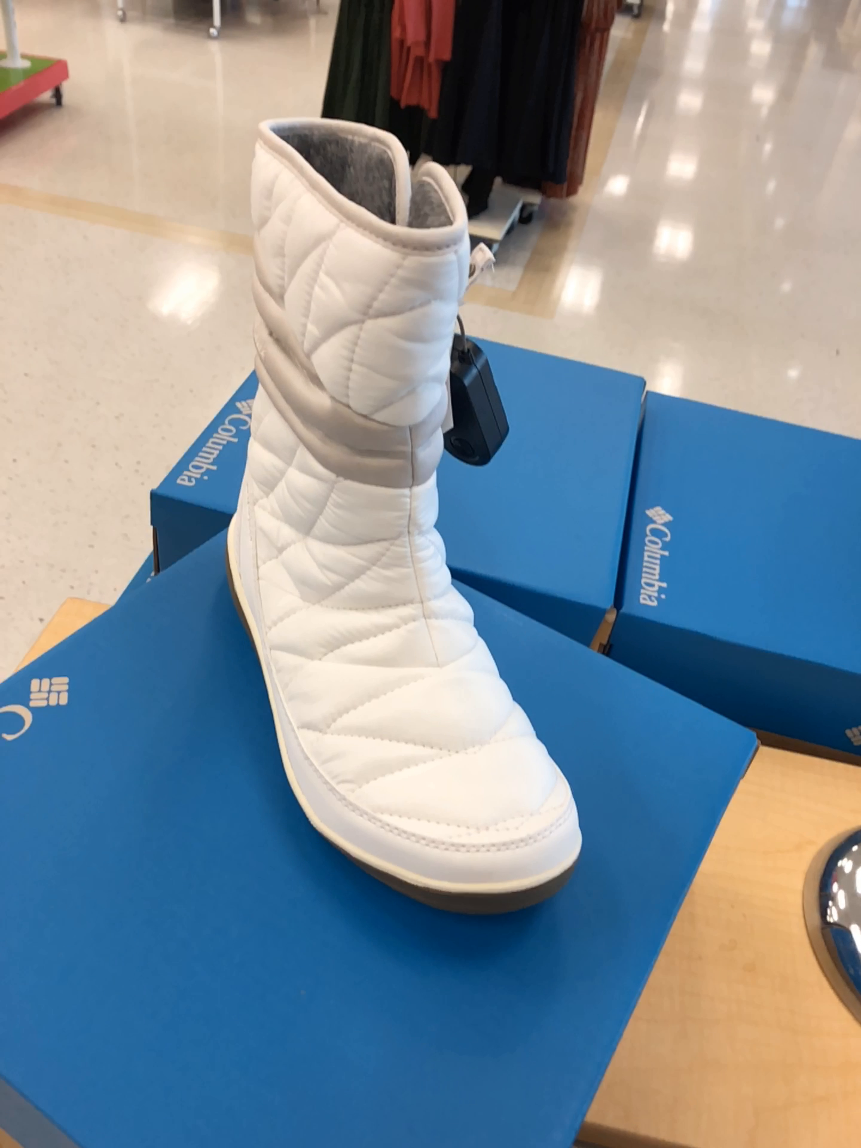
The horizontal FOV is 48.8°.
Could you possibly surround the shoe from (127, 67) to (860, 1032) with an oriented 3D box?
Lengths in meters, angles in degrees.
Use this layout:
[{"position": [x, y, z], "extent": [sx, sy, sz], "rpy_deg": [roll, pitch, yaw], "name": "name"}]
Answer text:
[{"position": [-0.016, -0.025, 0.350], "extent": [0.104, 0.228, 0.262], "rpy_deg": [-14, 46, -24], "name": "shoe"}]
